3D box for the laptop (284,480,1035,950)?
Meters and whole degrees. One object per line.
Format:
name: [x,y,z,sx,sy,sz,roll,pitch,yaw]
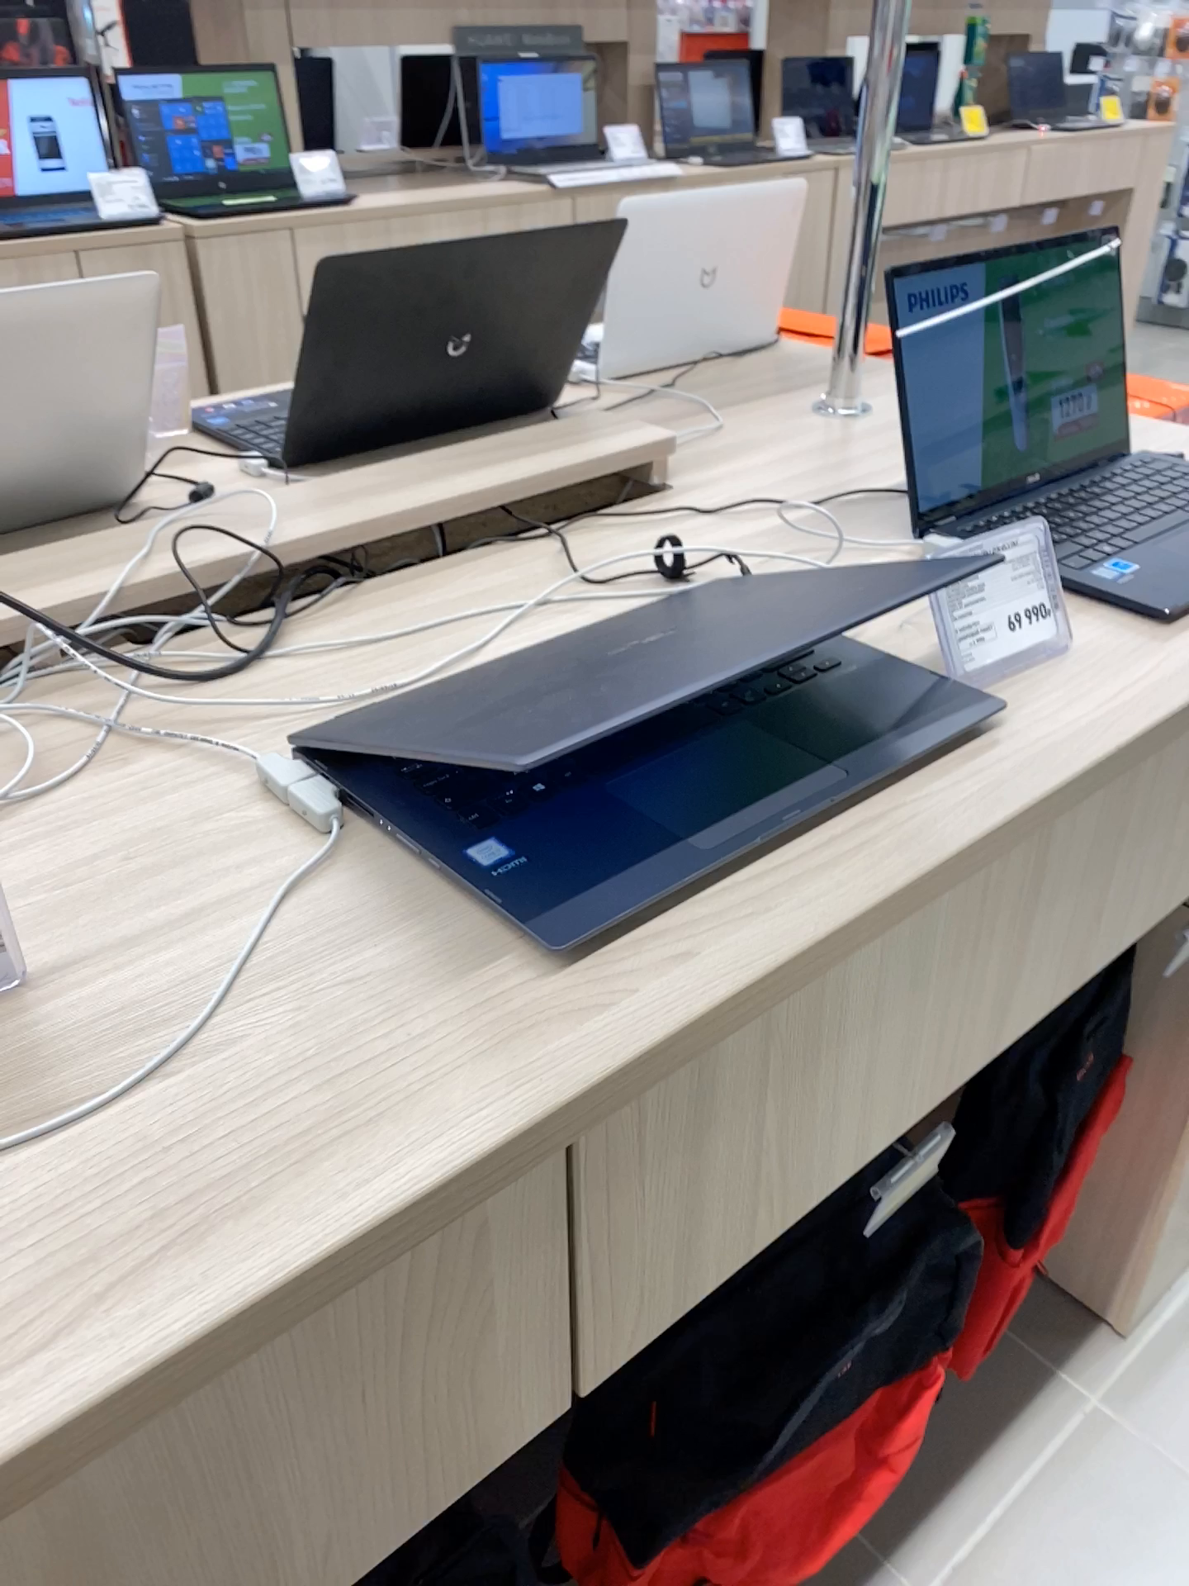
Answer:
laptop: [0.041,-0.070,0.652,0.330,0.079,0.226,-25,39,-35]
